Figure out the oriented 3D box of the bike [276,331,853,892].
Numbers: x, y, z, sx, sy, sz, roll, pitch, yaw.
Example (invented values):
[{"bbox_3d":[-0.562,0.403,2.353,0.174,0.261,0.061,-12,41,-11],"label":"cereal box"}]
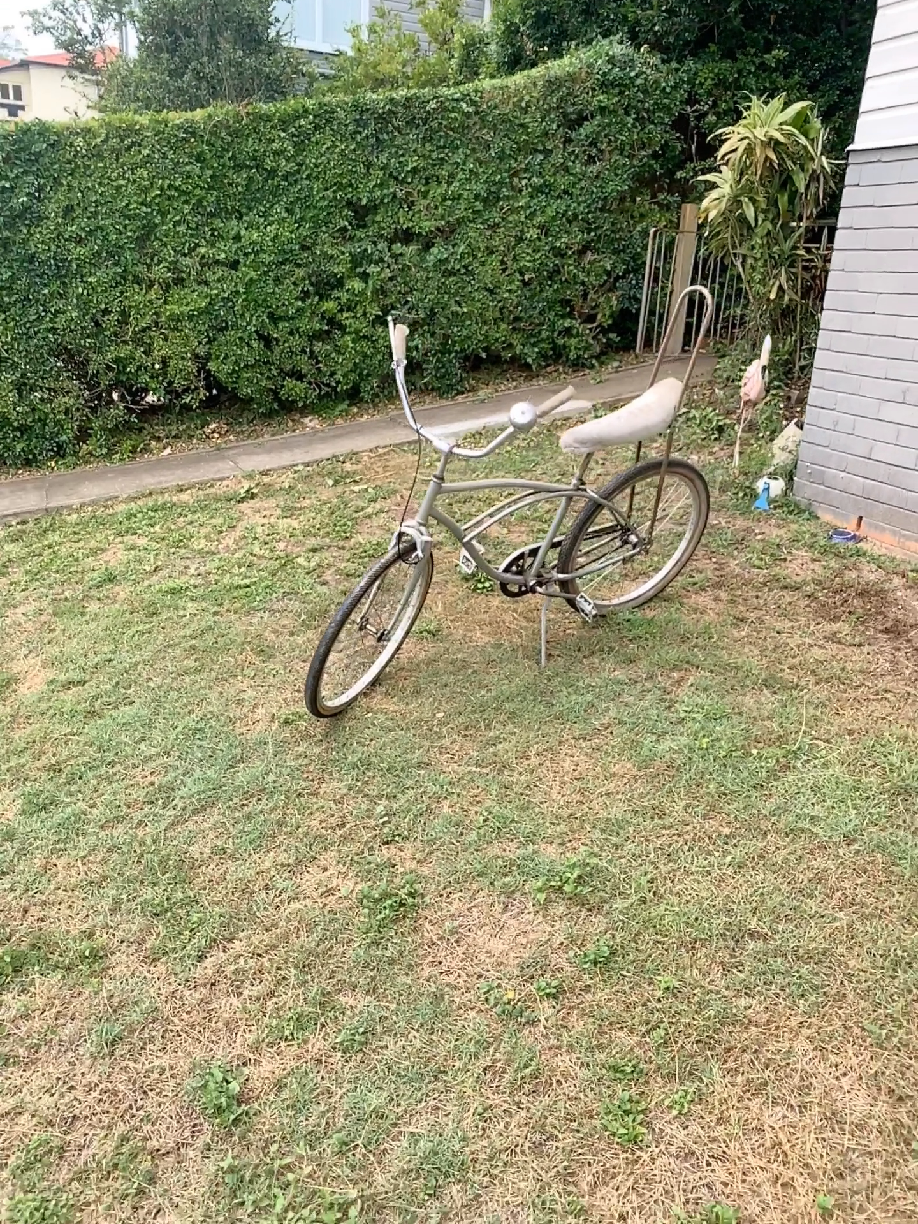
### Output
[{"bbox_3d":[0.309,-0.158,2.964,1.602,0.991,0.803,-20,28,-29],"label":"bike"}]
